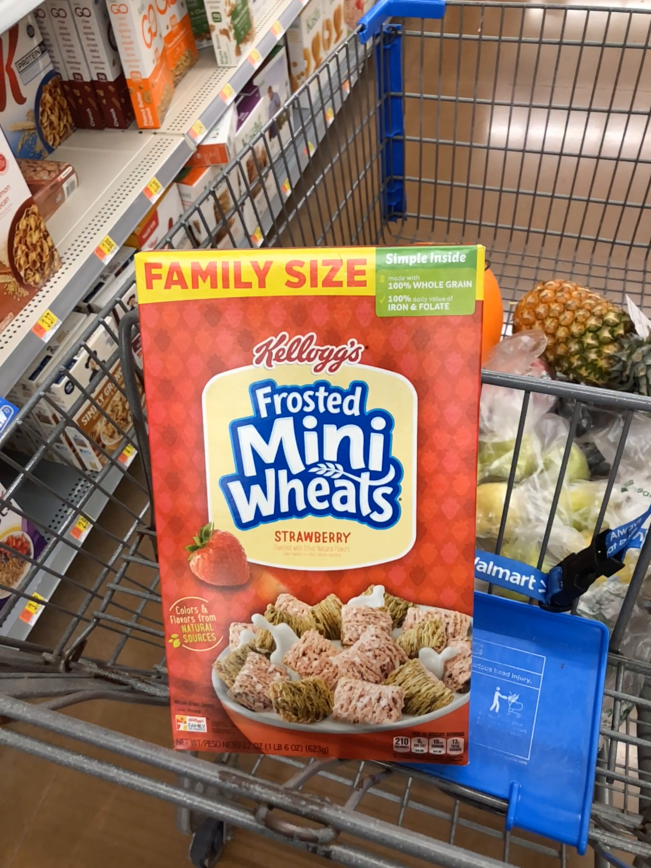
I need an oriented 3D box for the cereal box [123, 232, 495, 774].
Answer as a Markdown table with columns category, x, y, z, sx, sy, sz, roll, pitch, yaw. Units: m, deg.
| category | x | y | z | sx | sy | sz | roll | pitch | yaw |
| --- | --- | --- | --- | --- | --- | --- | --- | --- | --- |
| cereal box | -0.003 | 0.045 | 0.451 | 0.200 | 0.320 | 0.070 | 0 | 12 | 7 |
